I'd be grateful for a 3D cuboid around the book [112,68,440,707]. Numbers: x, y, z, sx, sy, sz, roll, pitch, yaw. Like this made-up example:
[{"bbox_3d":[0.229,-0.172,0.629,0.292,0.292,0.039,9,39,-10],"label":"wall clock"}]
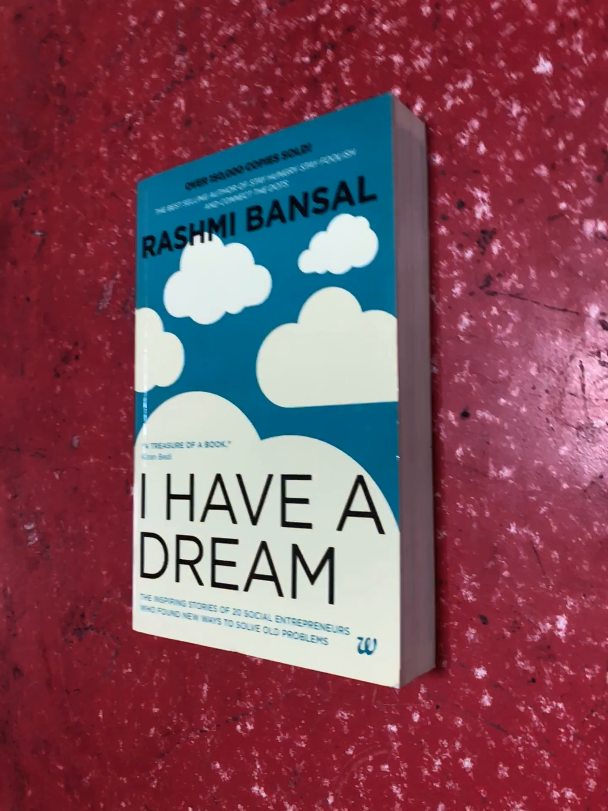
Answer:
[{"bbox_3d":[-0.018,-0.005,0.262,0.131,0.030,0.200,-4,84,35],"label":"book"}]
